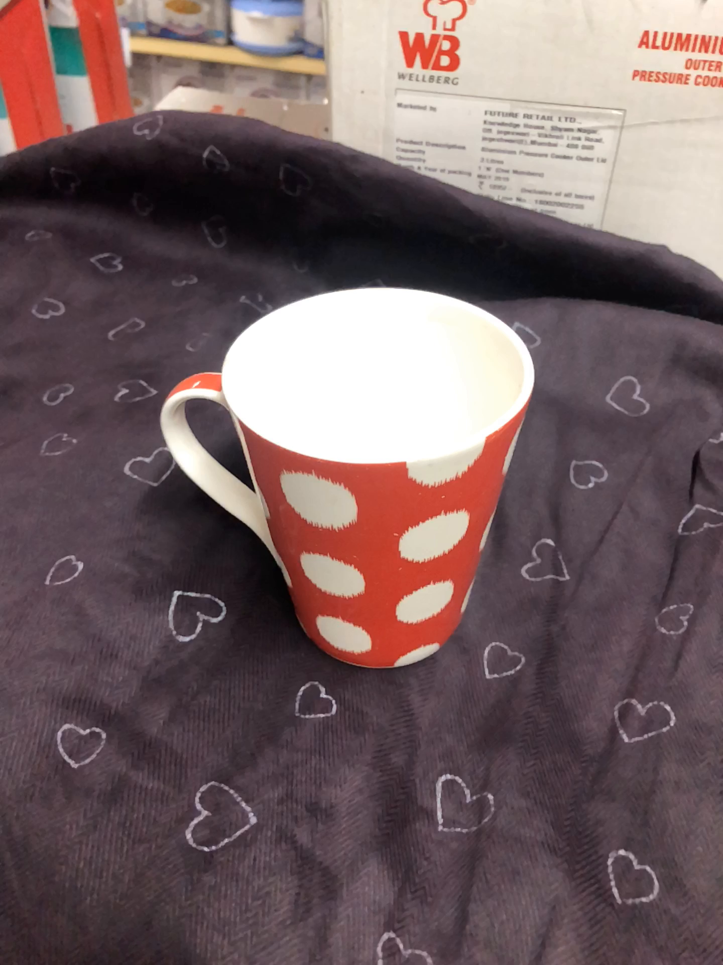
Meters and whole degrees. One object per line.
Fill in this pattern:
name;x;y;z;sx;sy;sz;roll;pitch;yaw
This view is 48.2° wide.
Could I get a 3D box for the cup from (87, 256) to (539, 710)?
cup;-0.009;-0.001;0.261;0.110;0.099;0.091;7;42;4
